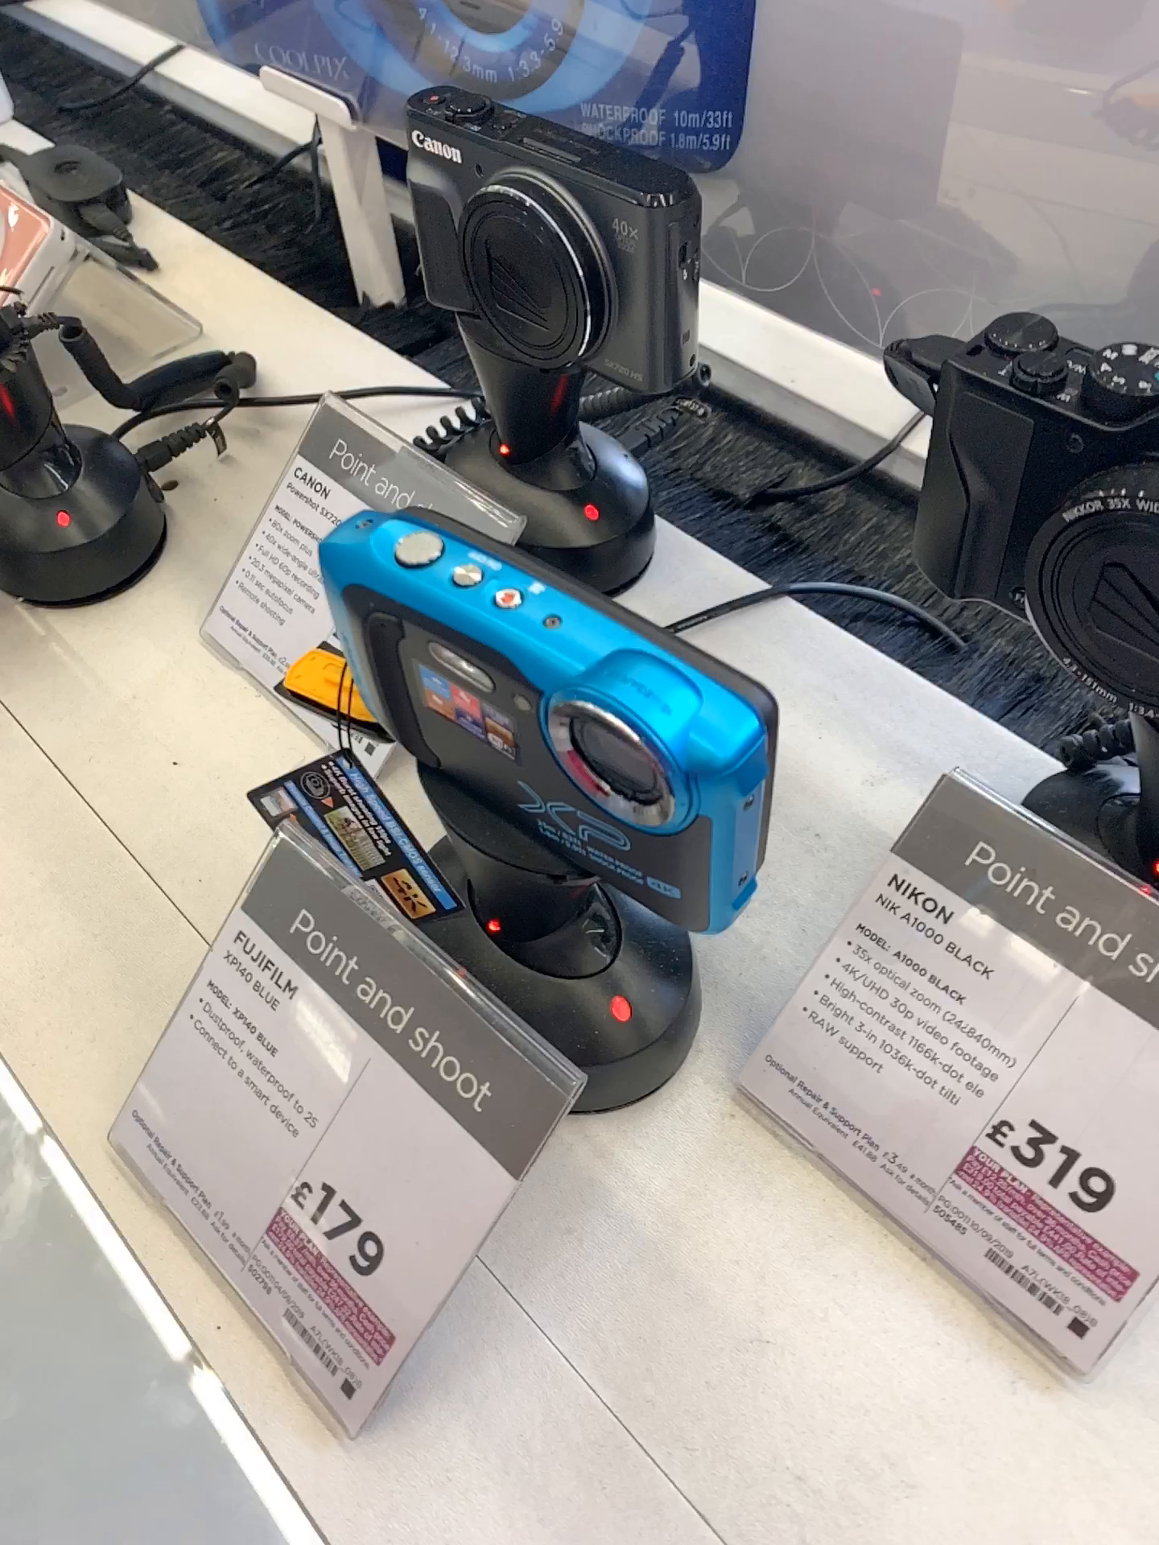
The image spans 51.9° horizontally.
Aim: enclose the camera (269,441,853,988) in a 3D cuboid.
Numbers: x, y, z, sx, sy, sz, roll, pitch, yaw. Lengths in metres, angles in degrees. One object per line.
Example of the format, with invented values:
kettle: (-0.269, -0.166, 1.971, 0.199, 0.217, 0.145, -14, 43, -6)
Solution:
camera: (-0.006, -0.013, 0.233, 0.110, 0.060, 0.030, 32, 60, 26)
